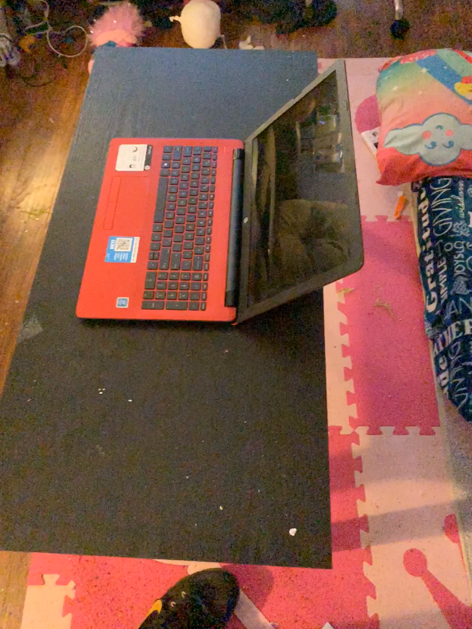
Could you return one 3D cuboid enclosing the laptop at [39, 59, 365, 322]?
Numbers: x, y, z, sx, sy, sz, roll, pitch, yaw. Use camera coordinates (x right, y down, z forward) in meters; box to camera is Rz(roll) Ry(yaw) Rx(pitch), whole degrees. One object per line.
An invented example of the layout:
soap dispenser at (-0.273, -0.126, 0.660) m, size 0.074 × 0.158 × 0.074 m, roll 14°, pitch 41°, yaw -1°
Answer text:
laptop at (-0.040, -0.199, 0.762) m, size 0.409 × 0.170 × 0.376 m, roll 1°, pitch 64°, yaw 2°
